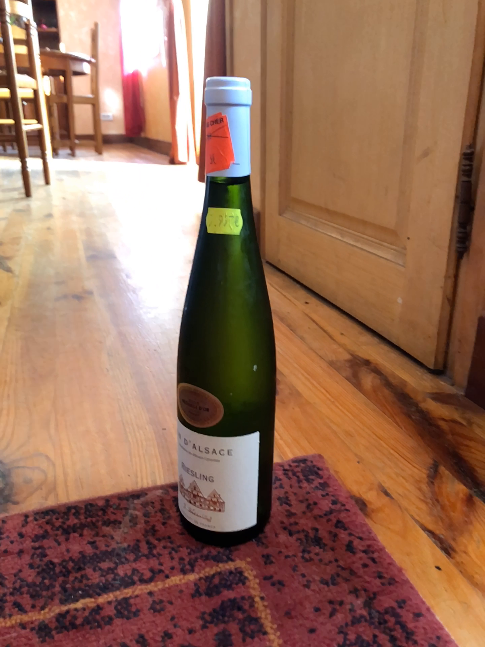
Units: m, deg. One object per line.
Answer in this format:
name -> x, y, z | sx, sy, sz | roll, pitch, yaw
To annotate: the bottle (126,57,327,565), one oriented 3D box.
bottle -> -0.005, -0.002, 0.348 | 0.080, 0.299, 0.080 | -1, 21, 0
